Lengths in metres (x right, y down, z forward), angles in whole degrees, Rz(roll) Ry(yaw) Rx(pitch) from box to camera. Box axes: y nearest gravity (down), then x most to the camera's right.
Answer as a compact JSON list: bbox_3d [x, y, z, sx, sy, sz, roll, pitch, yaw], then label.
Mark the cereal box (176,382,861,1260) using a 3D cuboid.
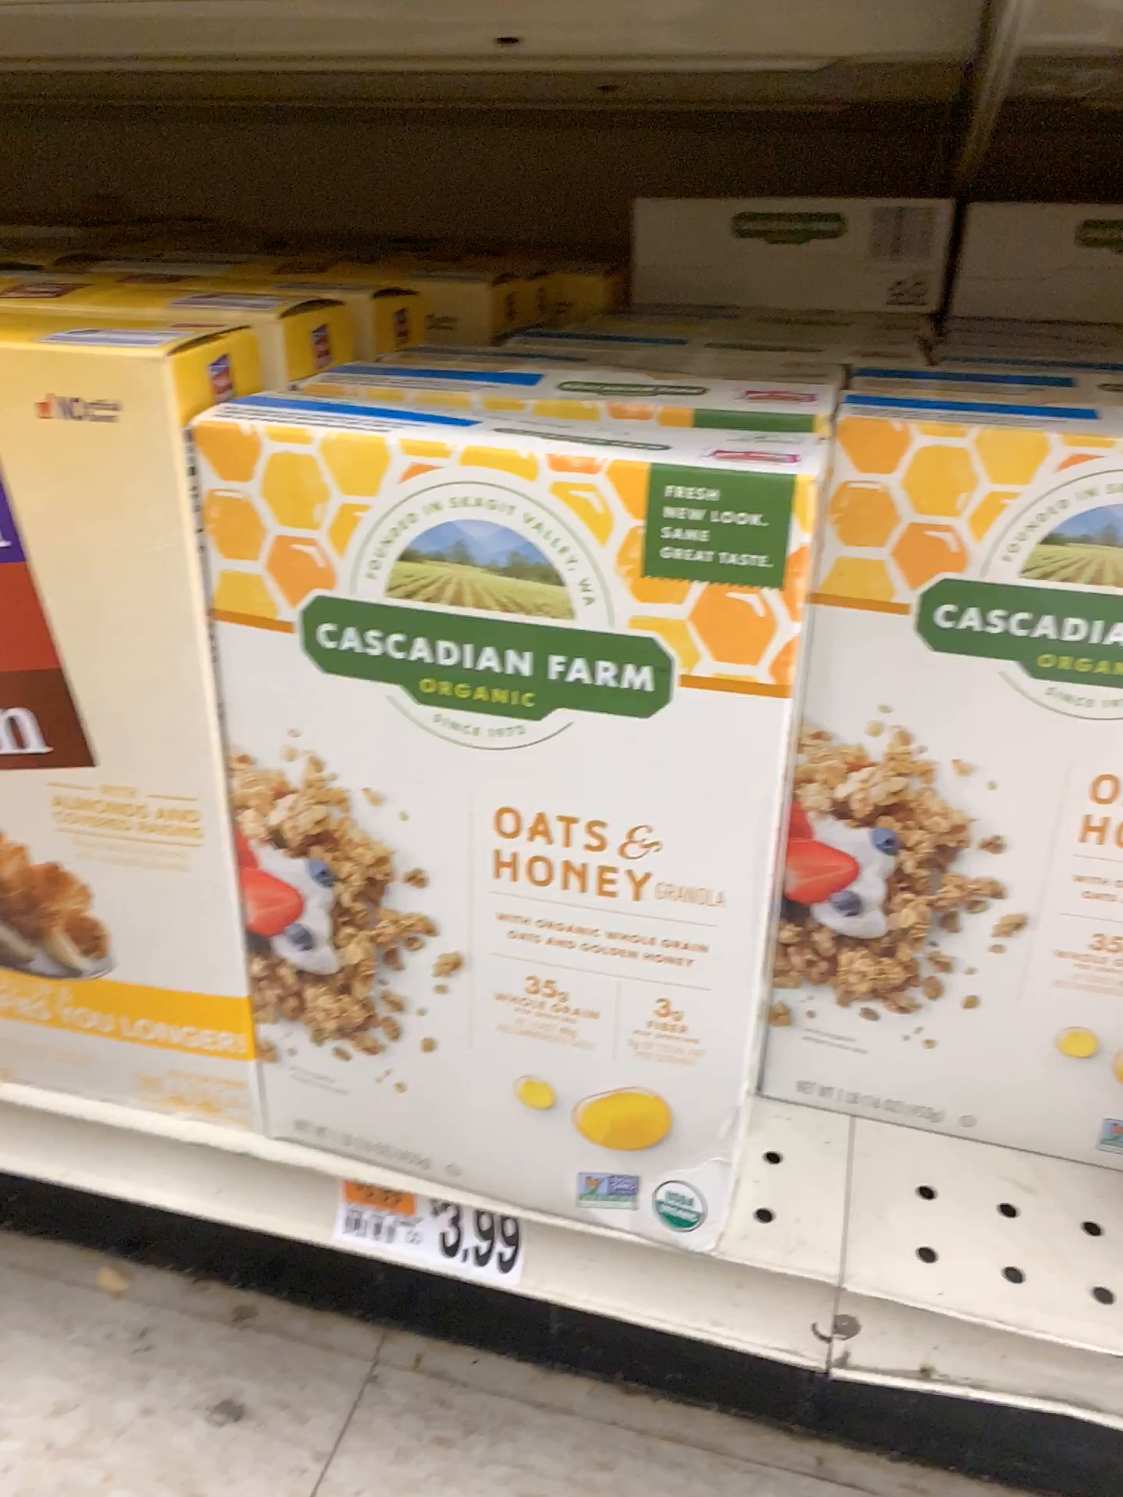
[{"bbox_3d":[-0.012,0.021,0.337,0.160,0.229,0.060,9,26,16],"label":"cereal box"}]
